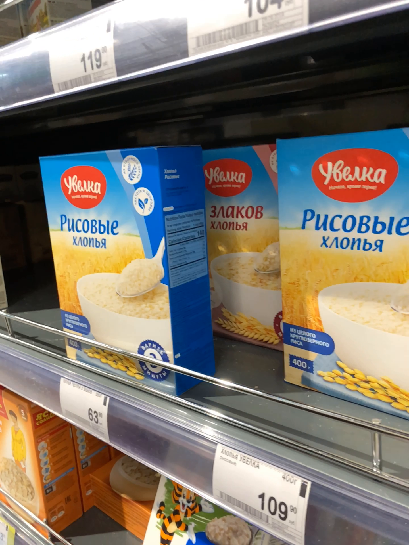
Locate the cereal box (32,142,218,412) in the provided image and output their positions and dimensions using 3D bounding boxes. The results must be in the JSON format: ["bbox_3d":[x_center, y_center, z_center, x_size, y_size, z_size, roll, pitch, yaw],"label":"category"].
[{"bbox_3d":[-0.068,-0.004,0.389,0.140,0.199,0.060,7,16,37],"label":"cereal box"}]
